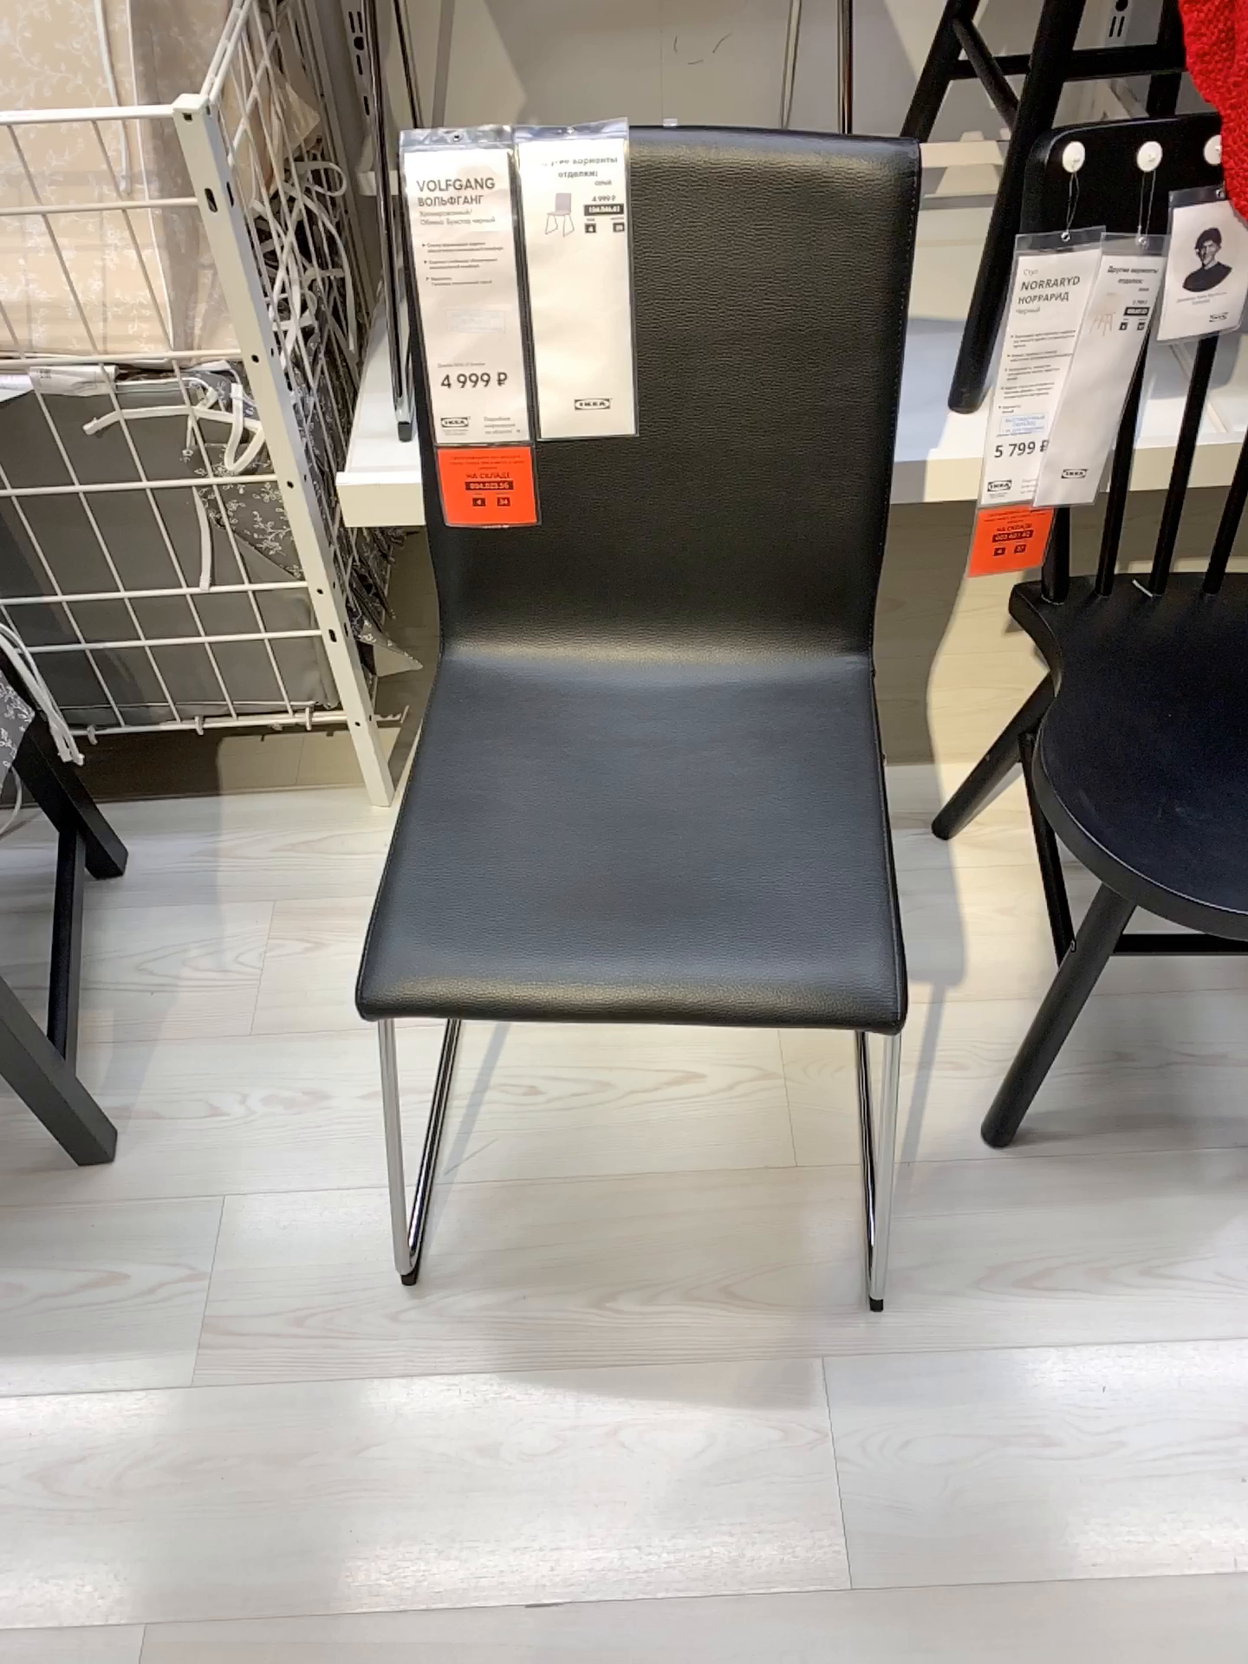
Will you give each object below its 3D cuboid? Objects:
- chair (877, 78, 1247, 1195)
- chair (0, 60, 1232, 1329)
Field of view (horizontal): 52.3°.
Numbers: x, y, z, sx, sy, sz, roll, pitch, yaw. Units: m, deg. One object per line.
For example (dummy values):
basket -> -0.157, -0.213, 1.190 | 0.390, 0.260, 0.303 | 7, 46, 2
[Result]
chair -> 0.563, -0.131, 1.170 | 0.471, 0.799, 0.601 | -2, 50, 0
chair -> 0.014, -0.051, 1.071 | 0.531, 0.869, 0.611 | 1, 50, 3
